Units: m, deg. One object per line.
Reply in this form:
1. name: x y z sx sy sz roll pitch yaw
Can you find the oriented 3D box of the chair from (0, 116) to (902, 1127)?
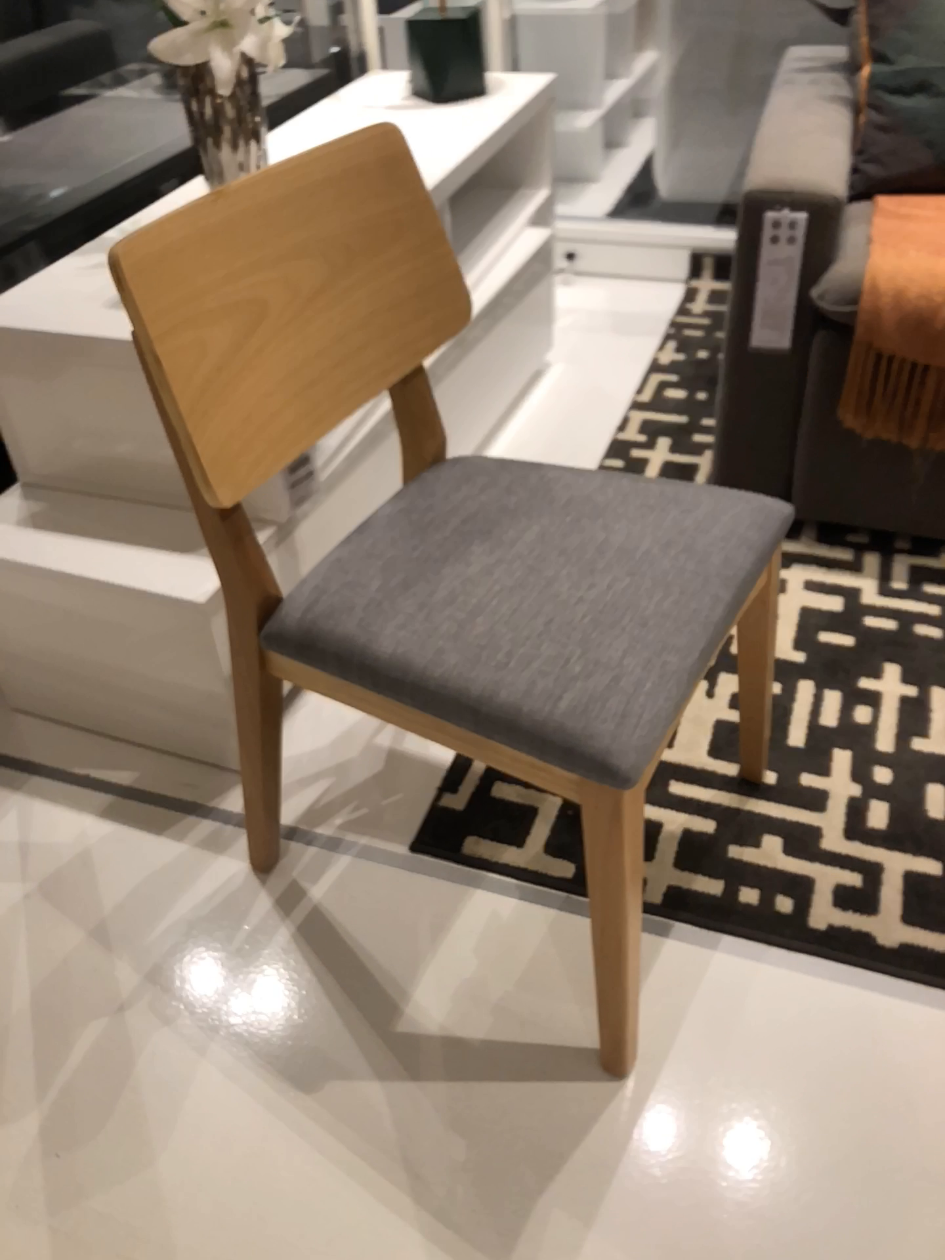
1. chair: 0.021 -0.034 1.126 0.581 0.794 0.543 17 43 24
